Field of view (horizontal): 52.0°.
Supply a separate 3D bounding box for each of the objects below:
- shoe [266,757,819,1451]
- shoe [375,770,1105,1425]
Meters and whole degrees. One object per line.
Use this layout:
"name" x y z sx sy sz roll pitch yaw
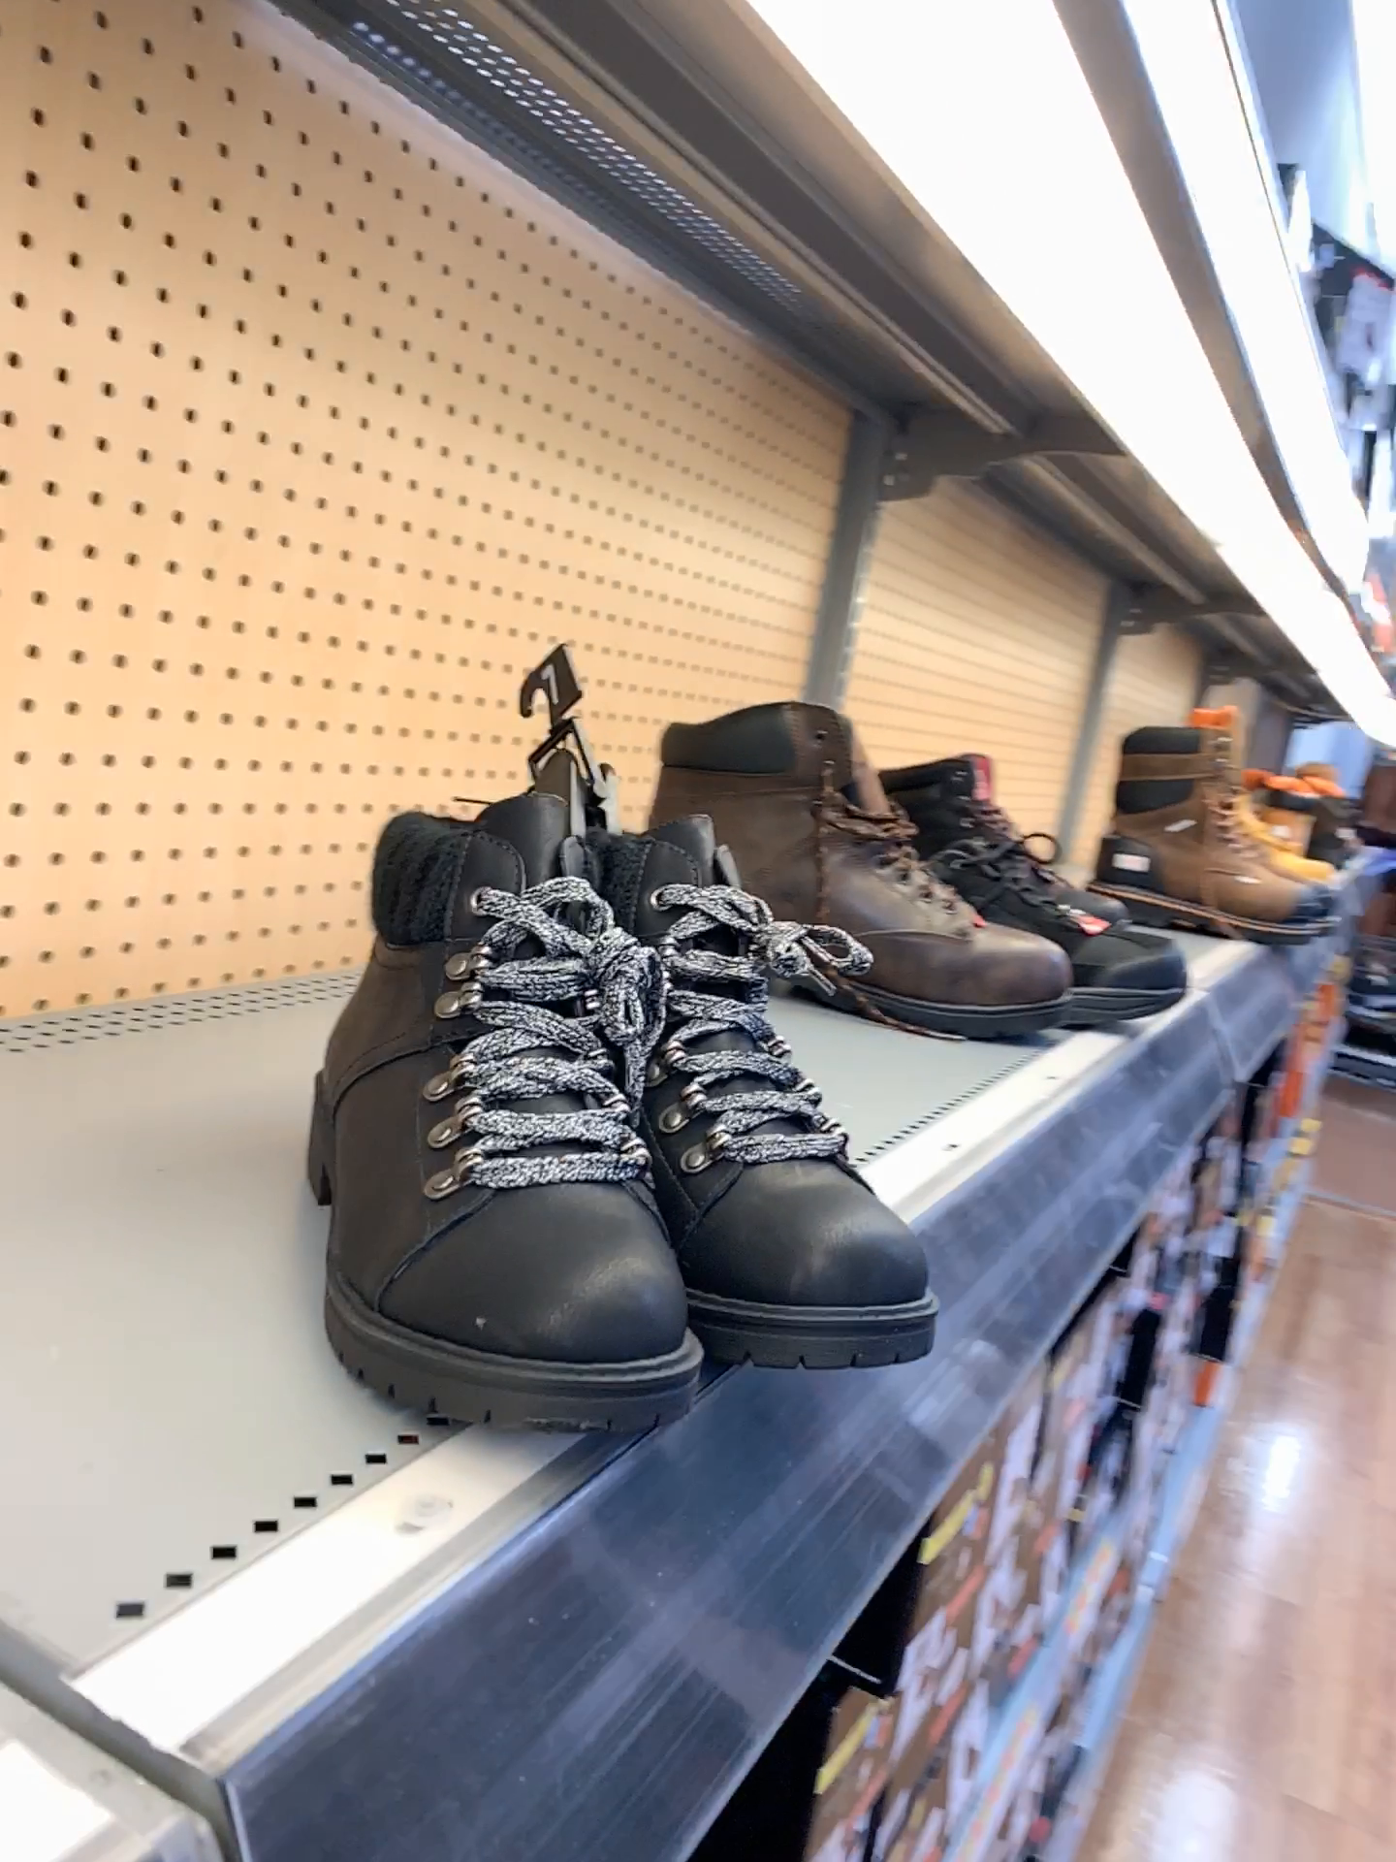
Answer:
"shoe" -0.068 0.034 0.450 0.104 0.137 0.236 7 10 -20
"shoe" -0.002 0.037 0.488 0.105 0.137 0.231 3 12 -39
